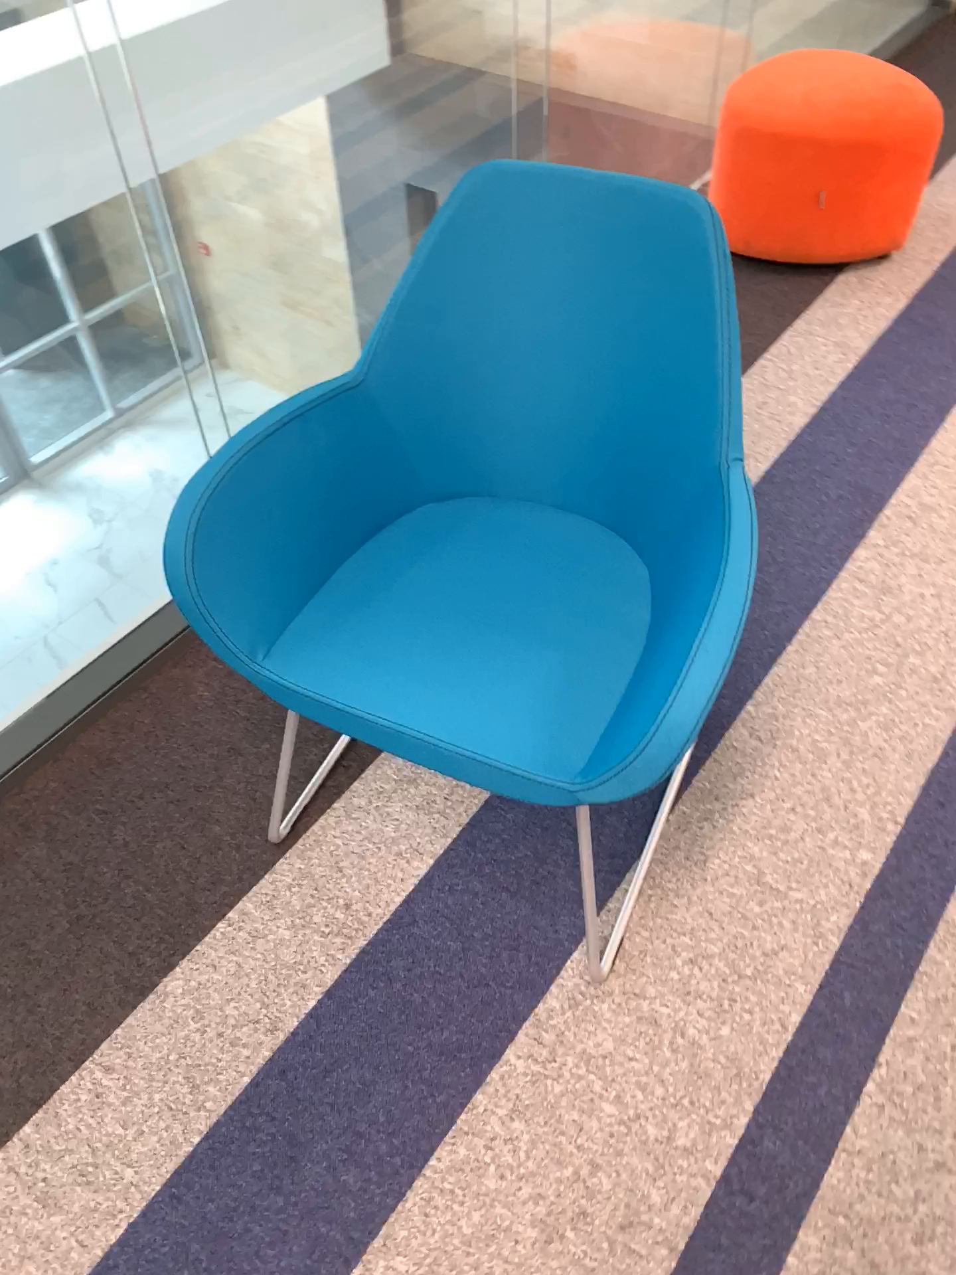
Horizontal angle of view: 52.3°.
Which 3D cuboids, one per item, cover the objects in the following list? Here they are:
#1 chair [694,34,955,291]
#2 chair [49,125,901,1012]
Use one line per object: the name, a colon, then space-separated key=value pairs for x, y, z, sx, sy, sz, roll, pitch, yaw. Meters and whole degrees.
chair: x=1.082 y=-1.441 z=2.915 sx=0.640 sy=0.396 sz=0.653 roll=19 pitch=52 yaw=19
chair: x=0.048 y=-0.087 z=1.329 sx=0.671 sy=0.836 sz=0.653 roll=19 pitch=52 yaw=19
